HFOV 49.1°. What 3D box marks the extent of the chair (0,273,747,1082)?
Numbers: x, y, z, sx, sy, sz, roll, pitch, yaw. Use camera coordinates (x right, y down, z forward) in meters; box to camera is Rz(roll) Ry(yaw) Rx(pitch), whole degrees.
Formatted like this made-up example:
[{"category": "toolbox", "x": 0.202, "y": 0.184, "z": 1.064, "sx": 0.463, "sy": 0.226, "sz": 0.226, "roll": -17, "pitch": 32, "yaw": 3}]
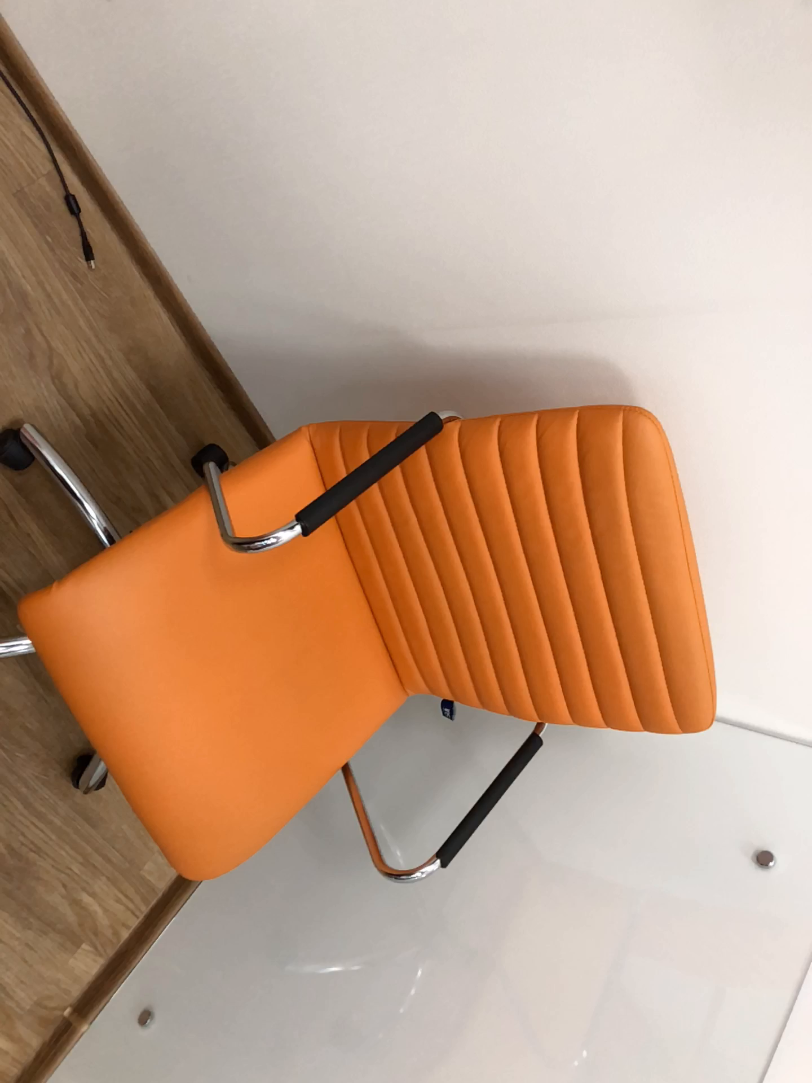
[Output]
[{"category": "chair", "x": -0.178, "y": 0.129, "z": 1.157, "sx": 0.662, "sy": 0.895, "sz": 0.621, "roll": -45, "pitch": 126, "yaw": -31}]
